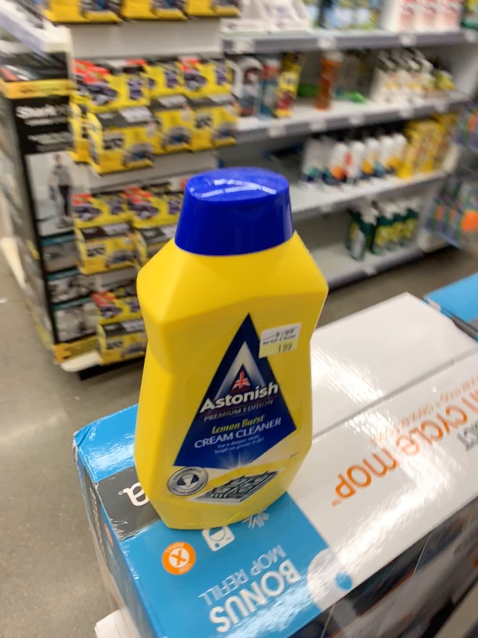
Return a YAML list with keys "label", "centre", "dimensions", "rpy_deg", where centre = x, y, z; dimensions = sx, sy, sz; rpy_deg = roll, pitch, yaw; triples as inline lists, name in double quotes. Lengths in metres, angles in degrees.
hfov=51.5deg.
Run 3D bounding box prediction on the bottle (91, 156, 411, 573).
- label: "bottle"
  centre: [-0.003, 0.030, 0.238]
  dimensions: [0.100, 0.189, 0.060]
  rpy_deg: [-12, 41, -20]
